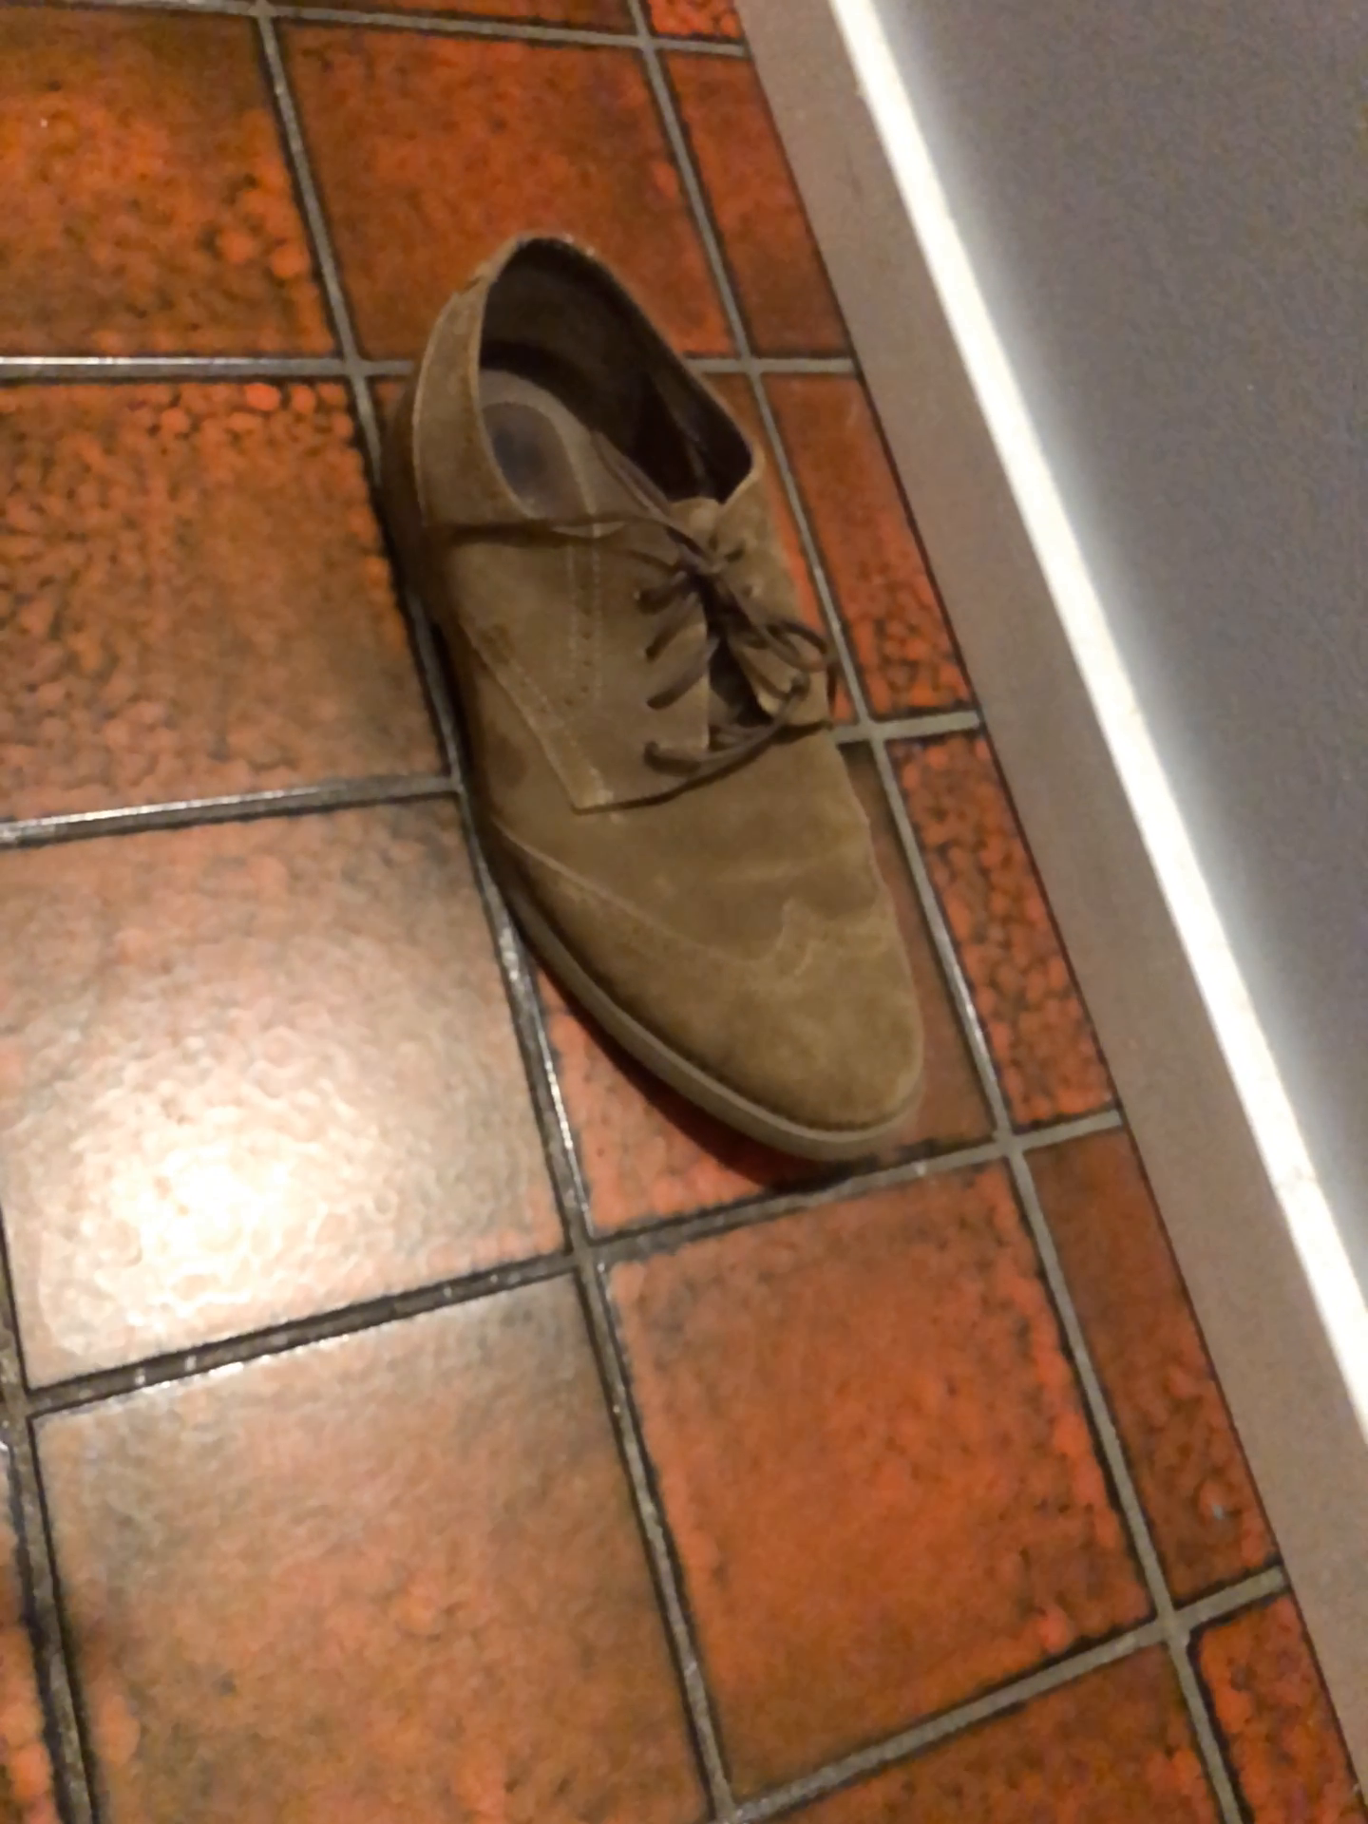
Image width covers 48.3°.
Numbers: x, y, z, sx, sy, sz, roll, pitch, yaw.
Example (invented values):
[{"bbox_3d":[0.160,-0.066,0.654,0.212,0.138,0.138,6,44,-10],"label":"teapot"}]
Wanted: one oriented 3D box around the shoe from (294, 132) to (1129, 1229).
[{"bbox_3d":[-0.004,-0.074,0.464,0.120,0.100,0.300,-18,78,-26],"label":"shoe"}]
